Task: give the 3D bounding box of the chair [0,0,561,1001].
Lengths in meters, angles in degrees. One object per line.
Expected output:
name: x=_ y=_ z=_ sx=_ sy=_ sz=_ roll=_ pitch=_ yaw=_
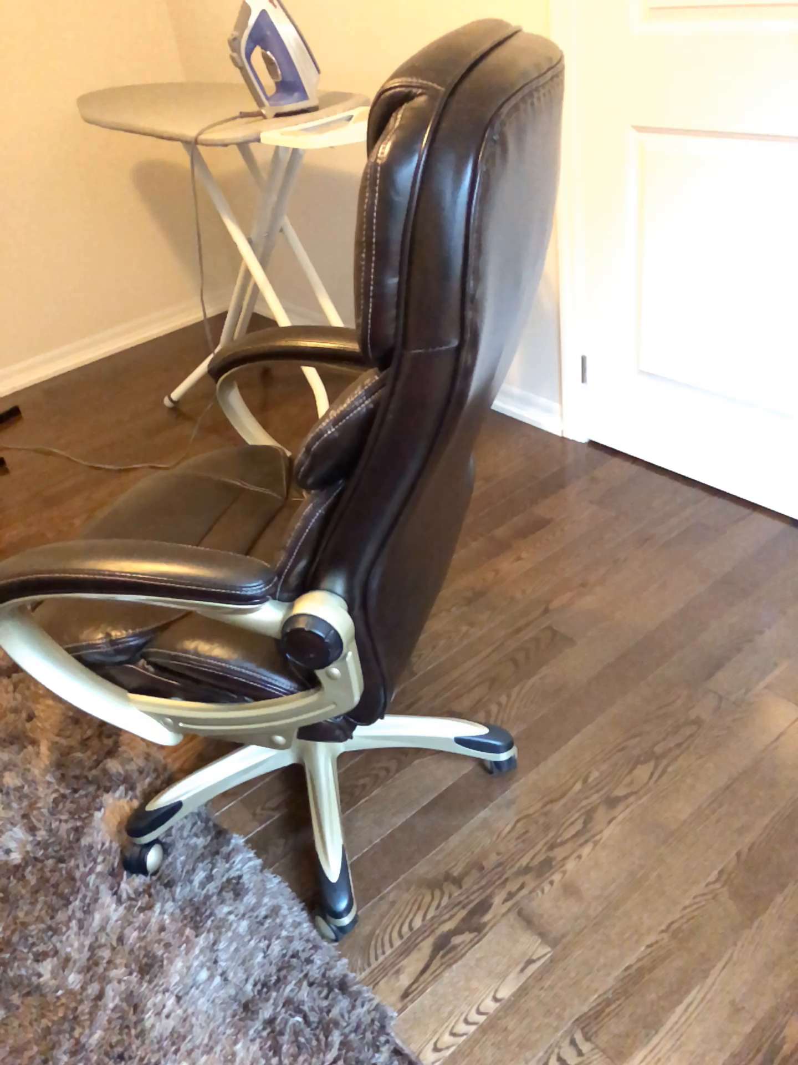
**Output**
chair: x=-0.230 y=-0.072 z=1.289 sx=0.741 sy=1.135 sz=0.732 roll=6 pitch=37 yaw=22
